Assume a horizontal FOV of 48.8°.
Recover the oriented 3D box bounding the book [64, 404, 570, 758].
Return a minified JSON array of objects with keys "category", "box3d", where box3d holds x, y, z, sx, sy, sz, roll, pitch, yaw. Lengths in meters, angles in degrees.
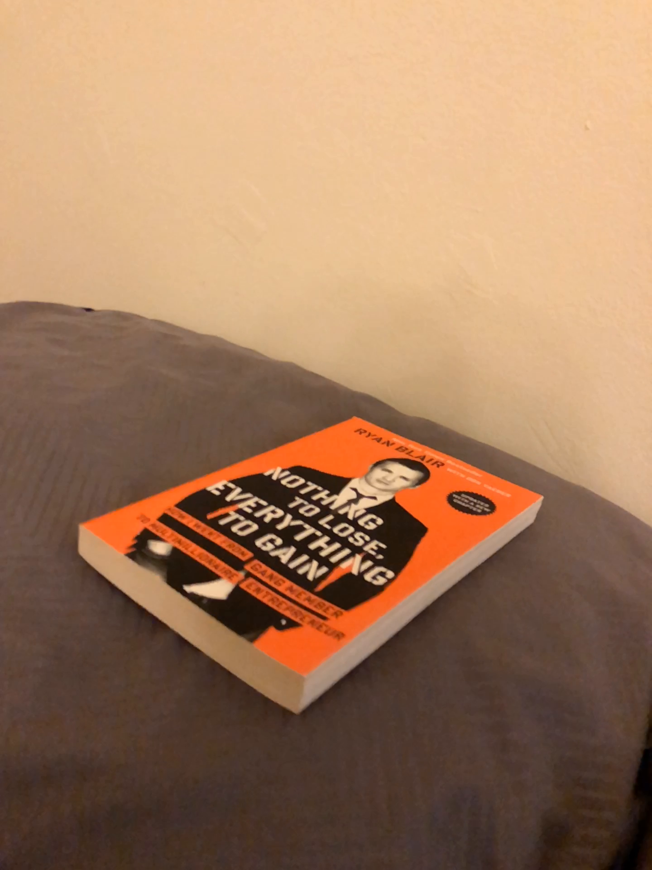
[{"category":"book","box3d":[0.010,0.046,0.373,0.150,0.020,0.231,28,31,31]}]
